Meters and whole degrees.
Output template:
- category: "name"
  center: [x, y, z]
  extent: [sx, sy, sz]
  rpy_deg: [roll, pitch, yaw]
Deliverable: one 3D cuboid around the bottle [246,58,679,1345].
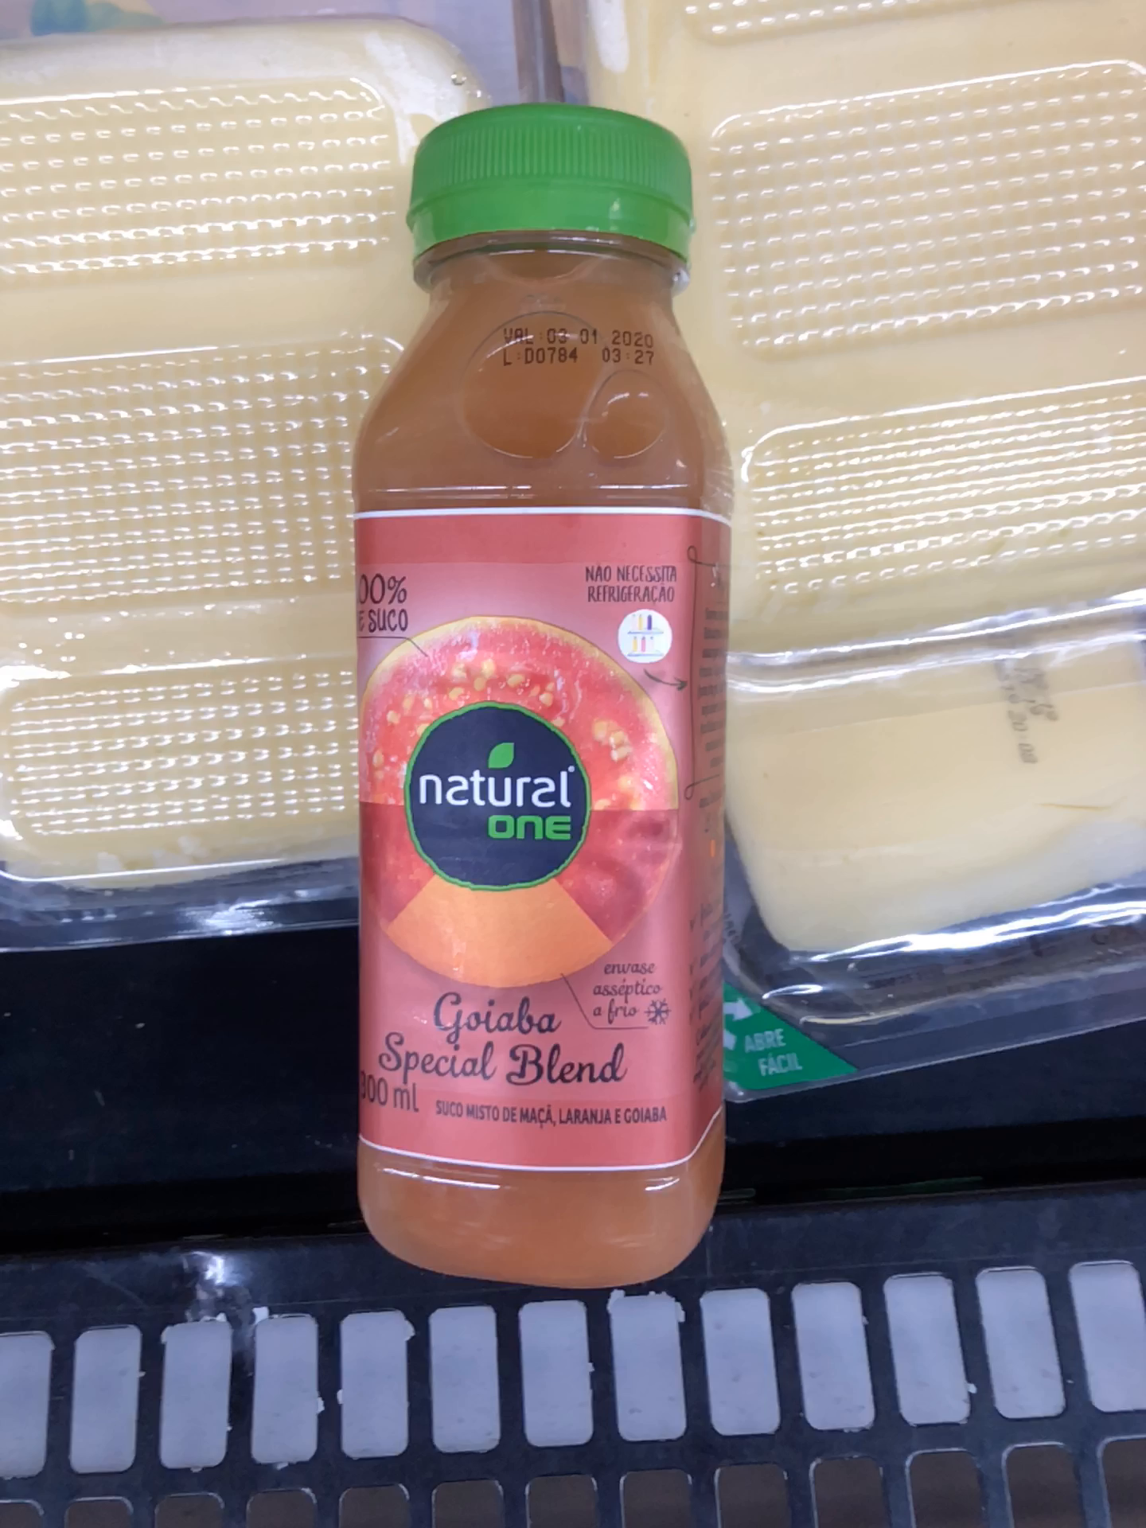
- category: "bottle"
  center: [-0.013, -0.009, 0.217]
  extent: [0.060, 0.070, 0.180]
  rpy_deg: [0, 89, 4]
